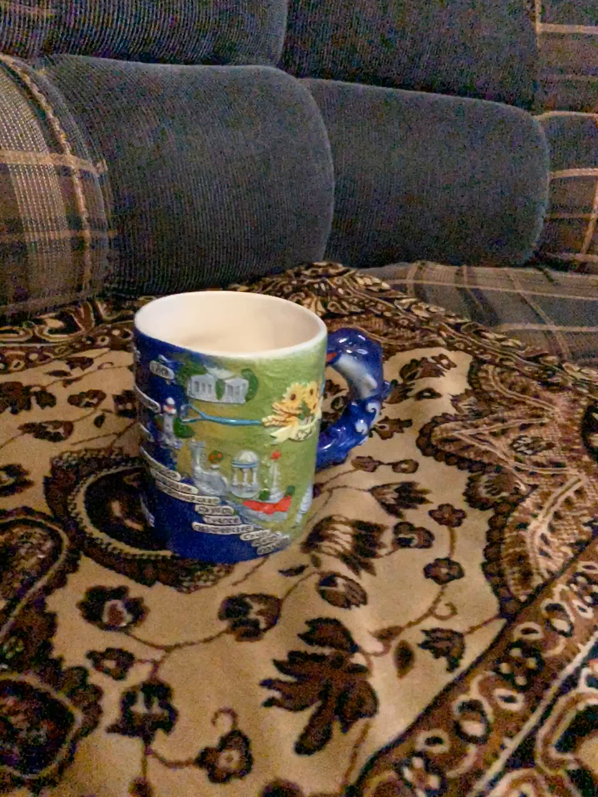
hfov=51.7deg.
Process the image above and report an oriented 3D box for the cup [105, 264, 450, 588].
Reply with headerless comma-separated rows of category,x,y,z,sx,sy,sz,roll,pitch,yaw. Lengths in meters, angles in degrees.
cup,-0.015,0.003,0.299,0.128,0.105,0.090,-10,31,-28
